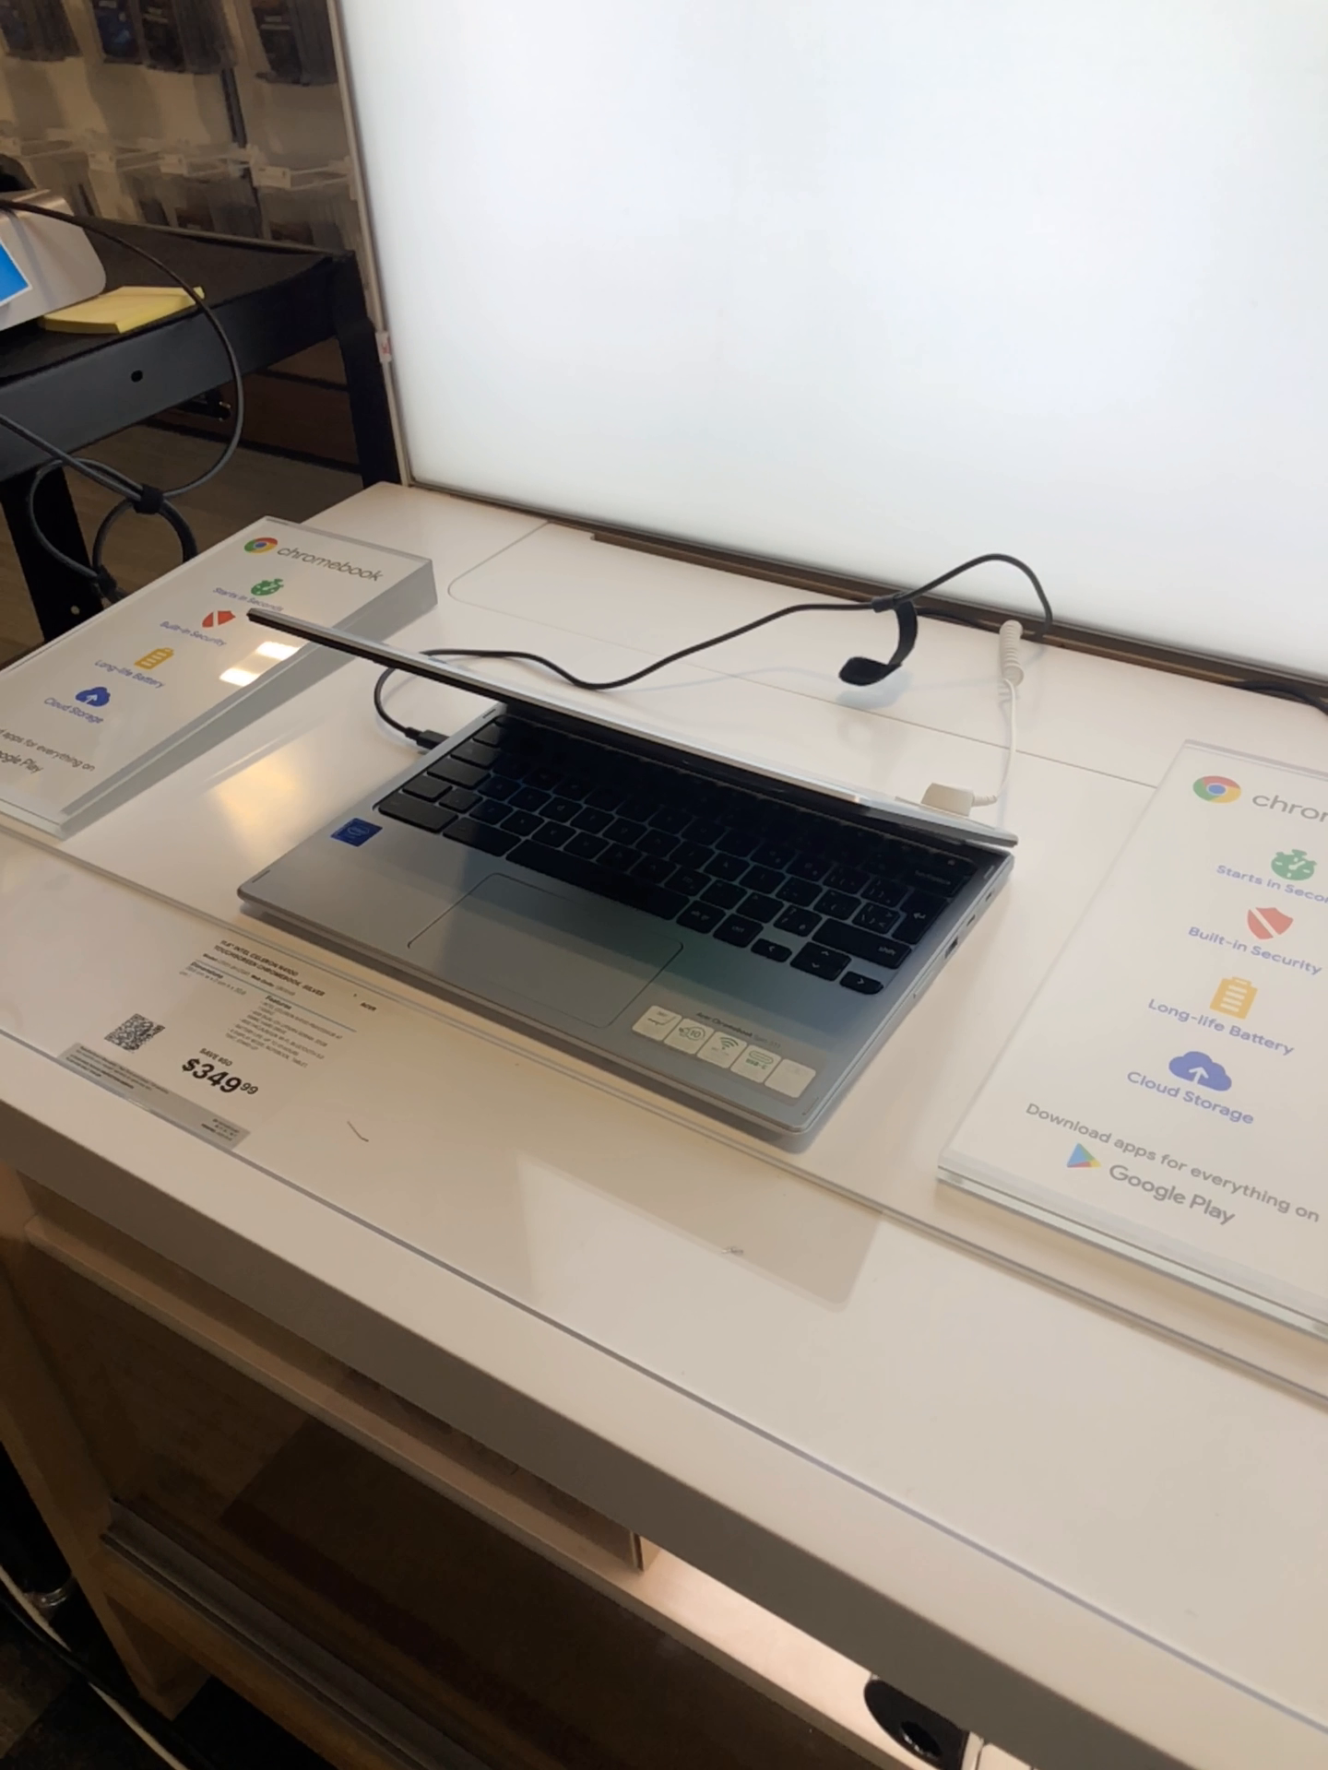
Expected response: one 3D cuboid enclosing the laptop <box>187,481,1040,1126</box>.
[{"bbox_3d":[-0.018,-0.054,0.617,0.280,0.123,0.192,20,42,27],"label":"laptop"}]
